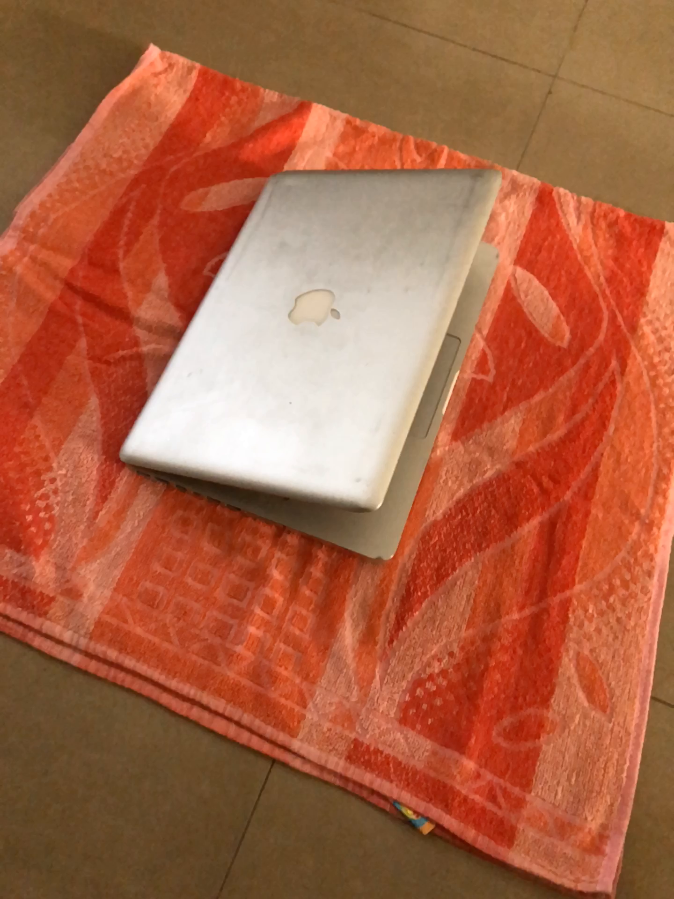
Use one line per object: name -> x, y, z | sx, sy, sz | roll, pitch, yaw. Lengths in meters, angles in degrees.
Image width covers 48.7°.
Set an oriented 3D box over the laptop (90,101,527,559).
laptop -> -0.008, -0.106, 0.584 | 0.222, 0.086, 0.311 | 20, 65, 6
